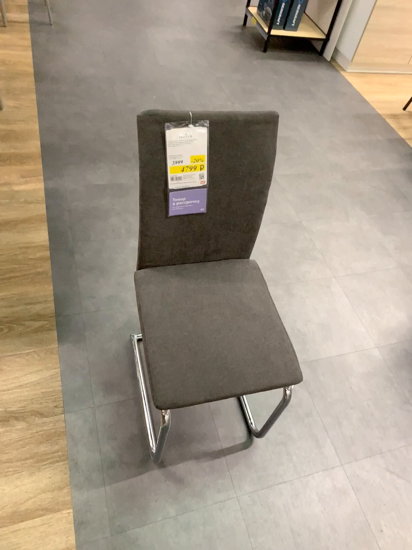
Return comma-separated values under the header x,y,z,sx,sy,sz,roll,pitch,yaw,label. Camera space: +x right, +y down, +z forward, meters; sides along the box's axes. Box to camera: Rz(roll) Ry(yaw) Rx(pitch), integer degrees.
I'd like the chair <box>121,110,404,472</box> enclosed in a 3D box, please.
x,y,z,sx,sy,sz,roll,pitch,yaw,label
0.015,0.109,1.255,0.436,0.976,0.541,-6,52,-17,chair
